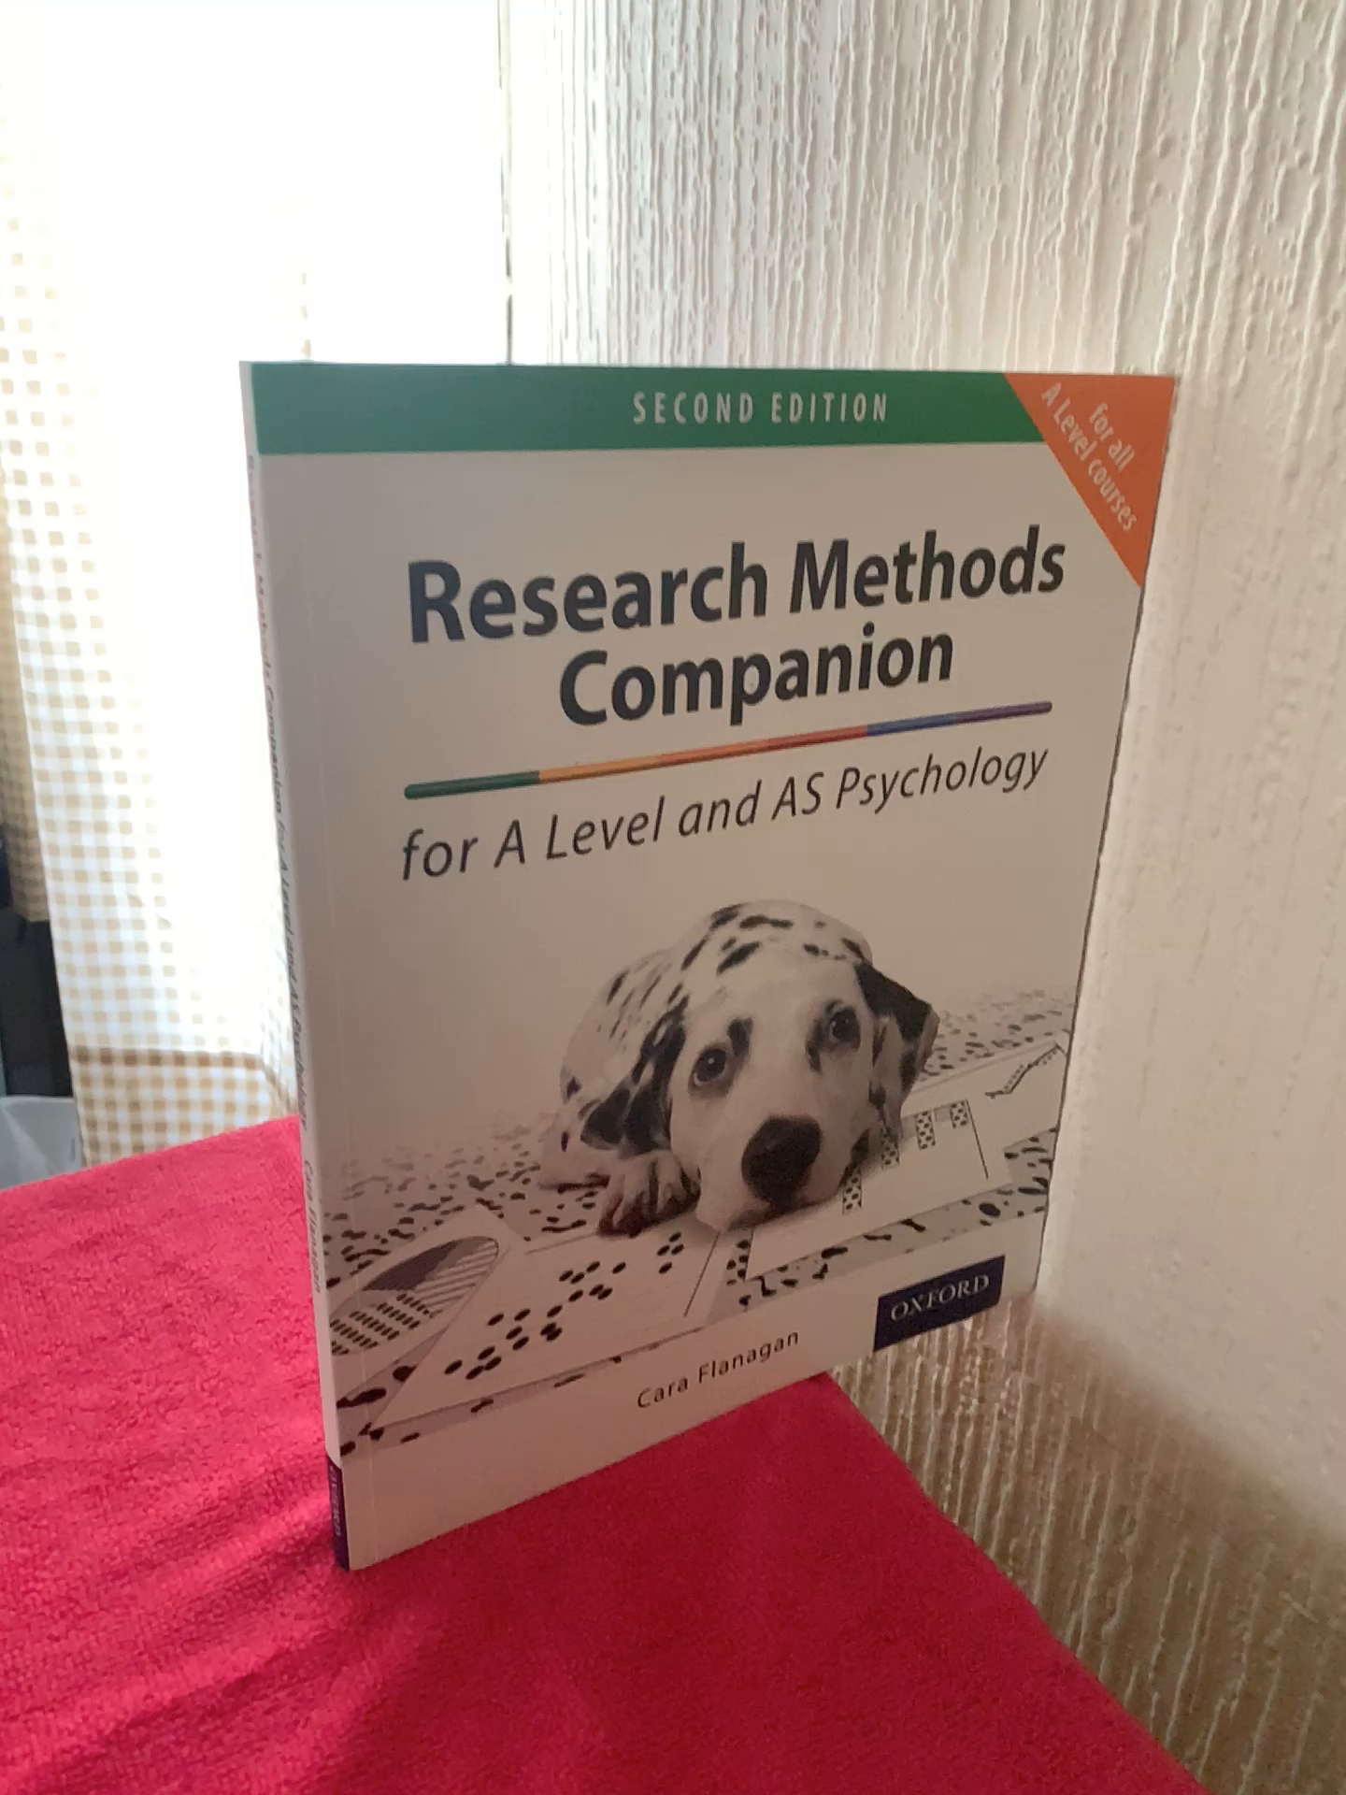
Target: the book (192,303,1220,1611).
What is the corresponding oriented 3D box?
[{"bbox_3d":[0.026,0.010,0.351,0.250,0.288,0.020,-11,22,-28],"label":"book"}]
